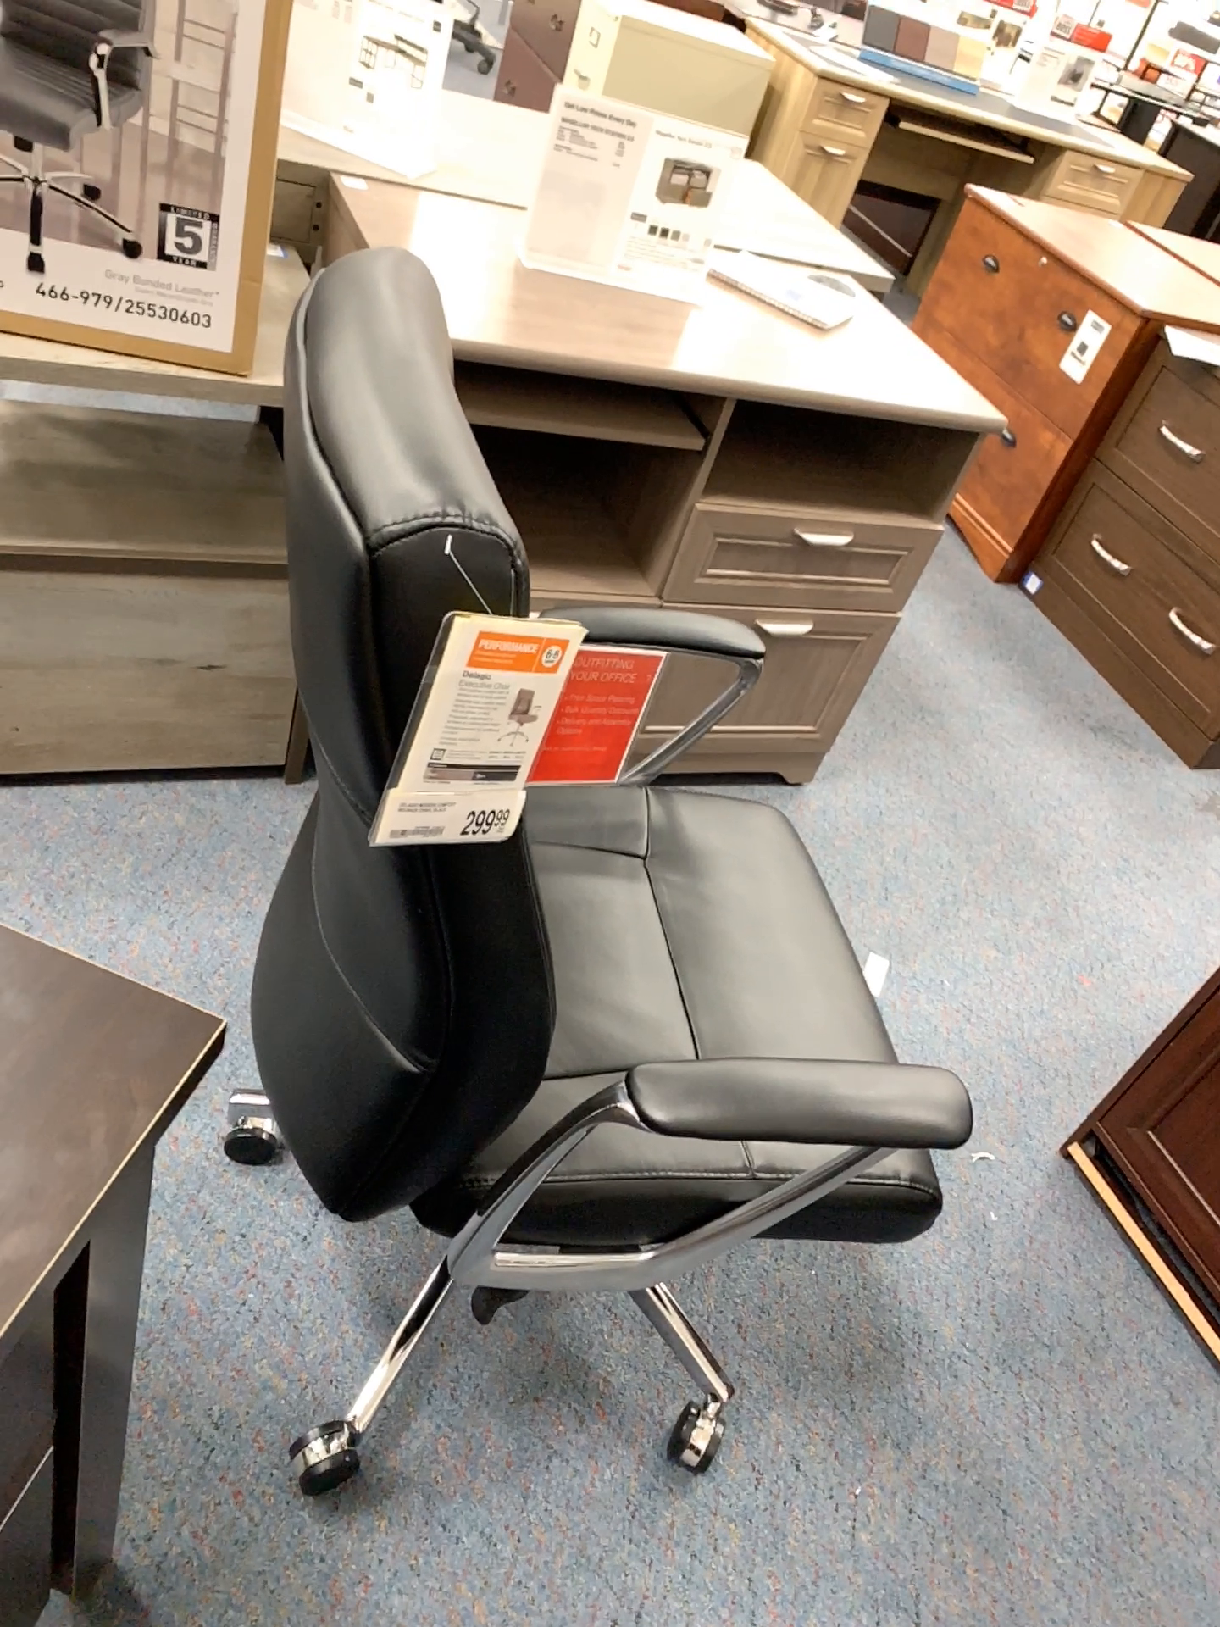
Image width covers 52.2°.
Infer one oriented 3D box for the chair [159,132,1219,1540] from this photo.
[{"bbox_3d":[0.020,0.093,1.156,0.718,0.996,0.667,6,41,-19],"label":"chair"}]
